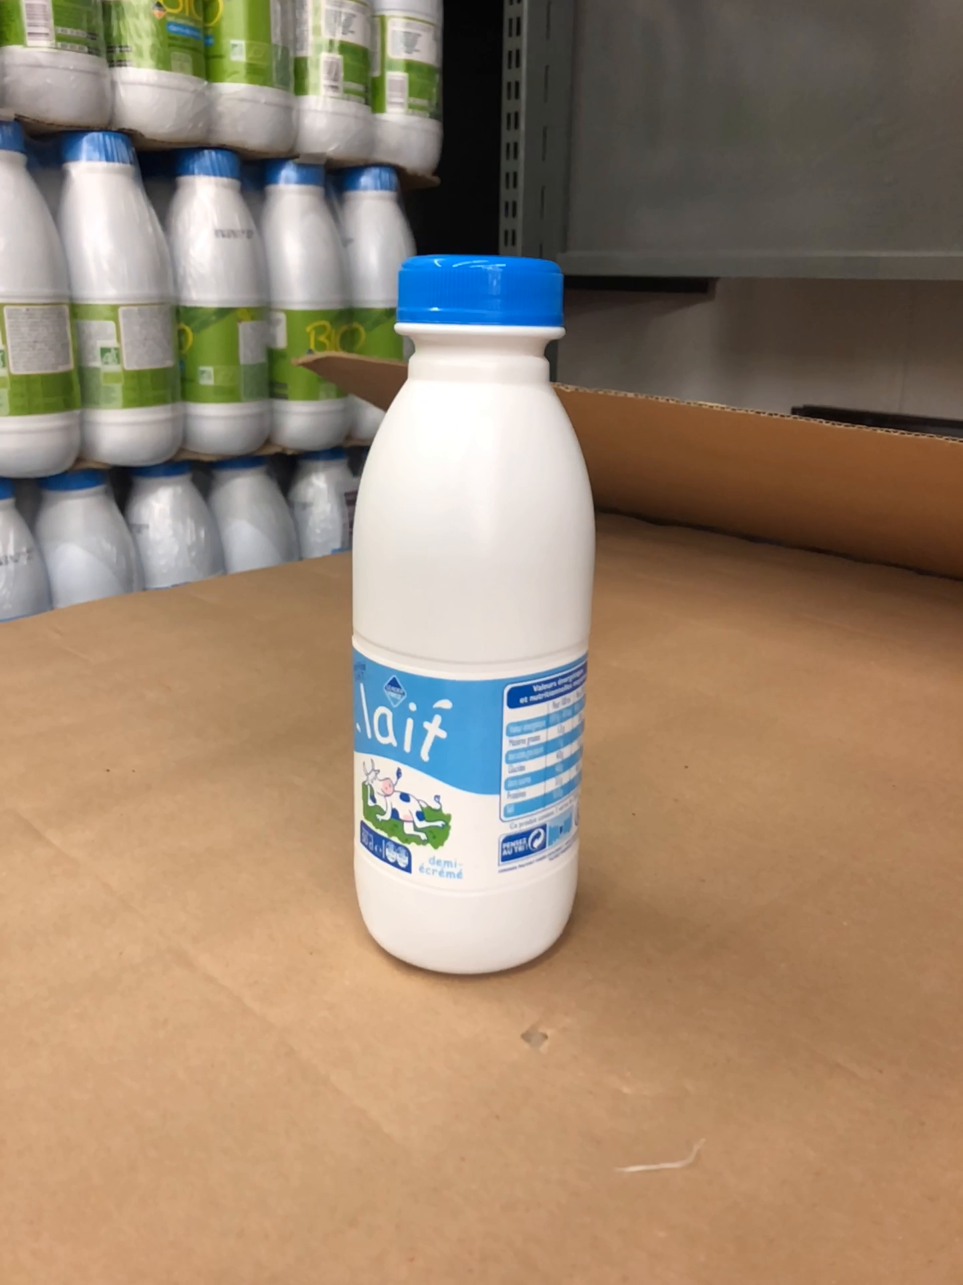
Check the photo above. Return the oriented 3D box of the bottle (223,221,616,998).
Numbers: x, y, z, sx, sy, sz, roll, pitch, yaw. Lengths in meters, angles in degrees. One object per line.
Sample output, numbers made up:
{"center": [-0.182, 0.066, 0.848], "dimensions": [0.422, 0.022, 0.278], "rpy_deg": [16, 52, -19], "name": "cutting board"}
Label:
{"center": [-0.017, -0.013, 0.296], "dimensions": [0.070, 0.189, 0.070], "rpy_deg": [1, 18, 0], "name": "bottle"}
